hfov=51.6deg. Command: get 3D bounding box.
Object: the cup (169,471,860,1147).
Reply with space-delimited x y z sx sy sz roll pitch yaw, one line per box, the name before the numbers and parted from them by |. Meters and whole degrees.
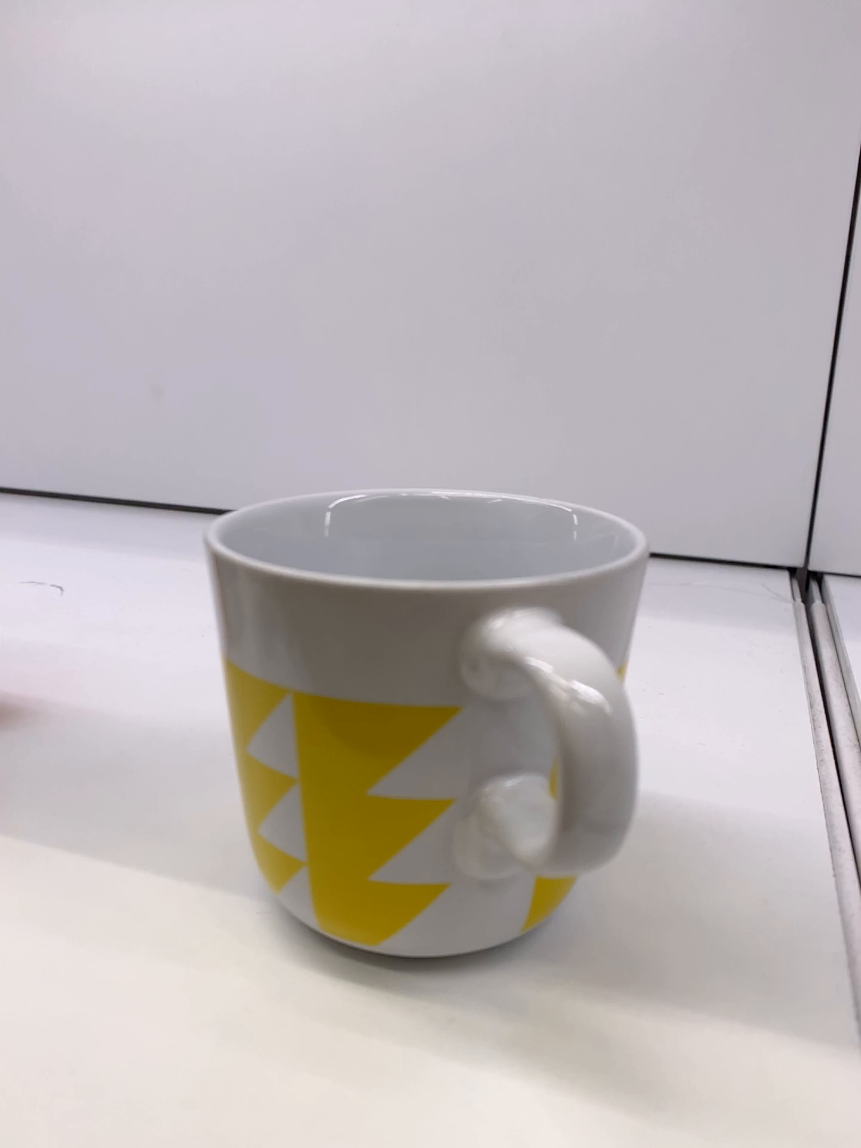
cup | 0.003 0.022 0.163 0.084 0.065 0.107 -4 15 -21
